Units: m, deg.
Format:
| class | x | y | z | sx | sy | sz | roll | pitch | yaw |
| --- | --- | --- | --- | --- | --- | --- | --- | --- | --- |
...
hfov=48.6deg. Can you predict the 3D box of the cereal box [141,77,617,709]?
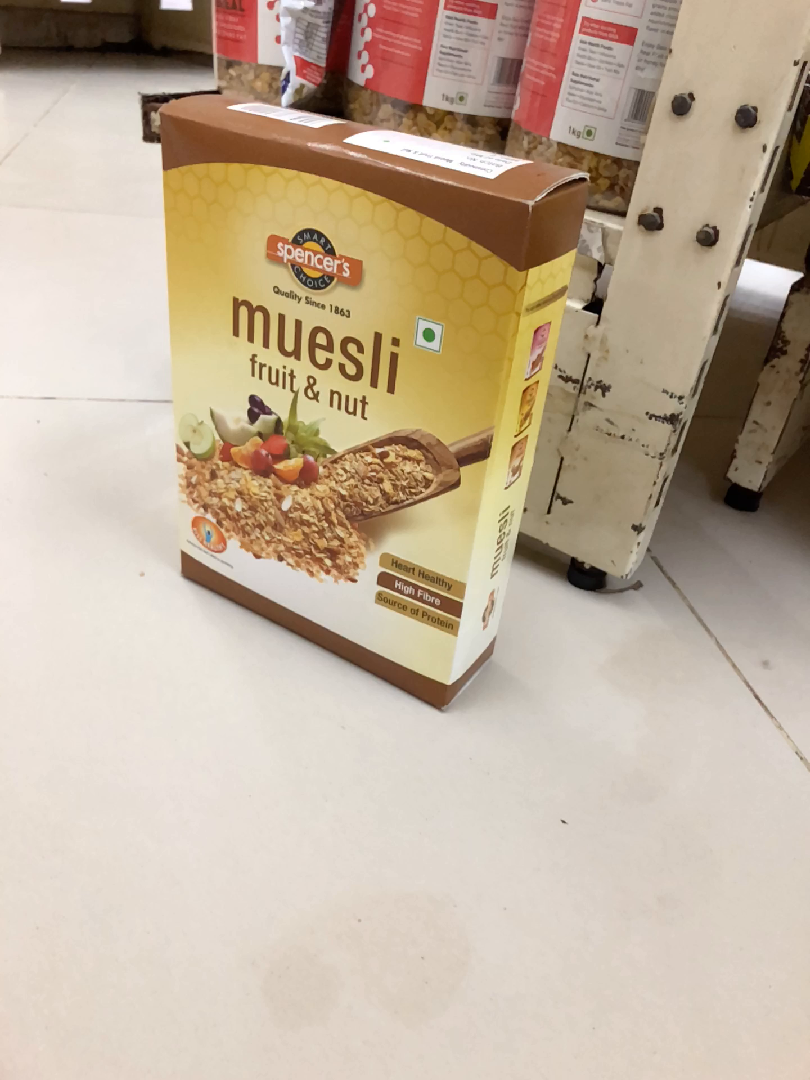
| class | x | y | z | sx | sy | sz | roll | pitch | yaw |
| --- | --- | --- | --- | --- | --- | --- | --- | --- | --- |
| cereal box | -0.028 | -0.069 | 0.420 | 0.190 | 0.238 | 0.060 | 24 | 35 | 24 |
